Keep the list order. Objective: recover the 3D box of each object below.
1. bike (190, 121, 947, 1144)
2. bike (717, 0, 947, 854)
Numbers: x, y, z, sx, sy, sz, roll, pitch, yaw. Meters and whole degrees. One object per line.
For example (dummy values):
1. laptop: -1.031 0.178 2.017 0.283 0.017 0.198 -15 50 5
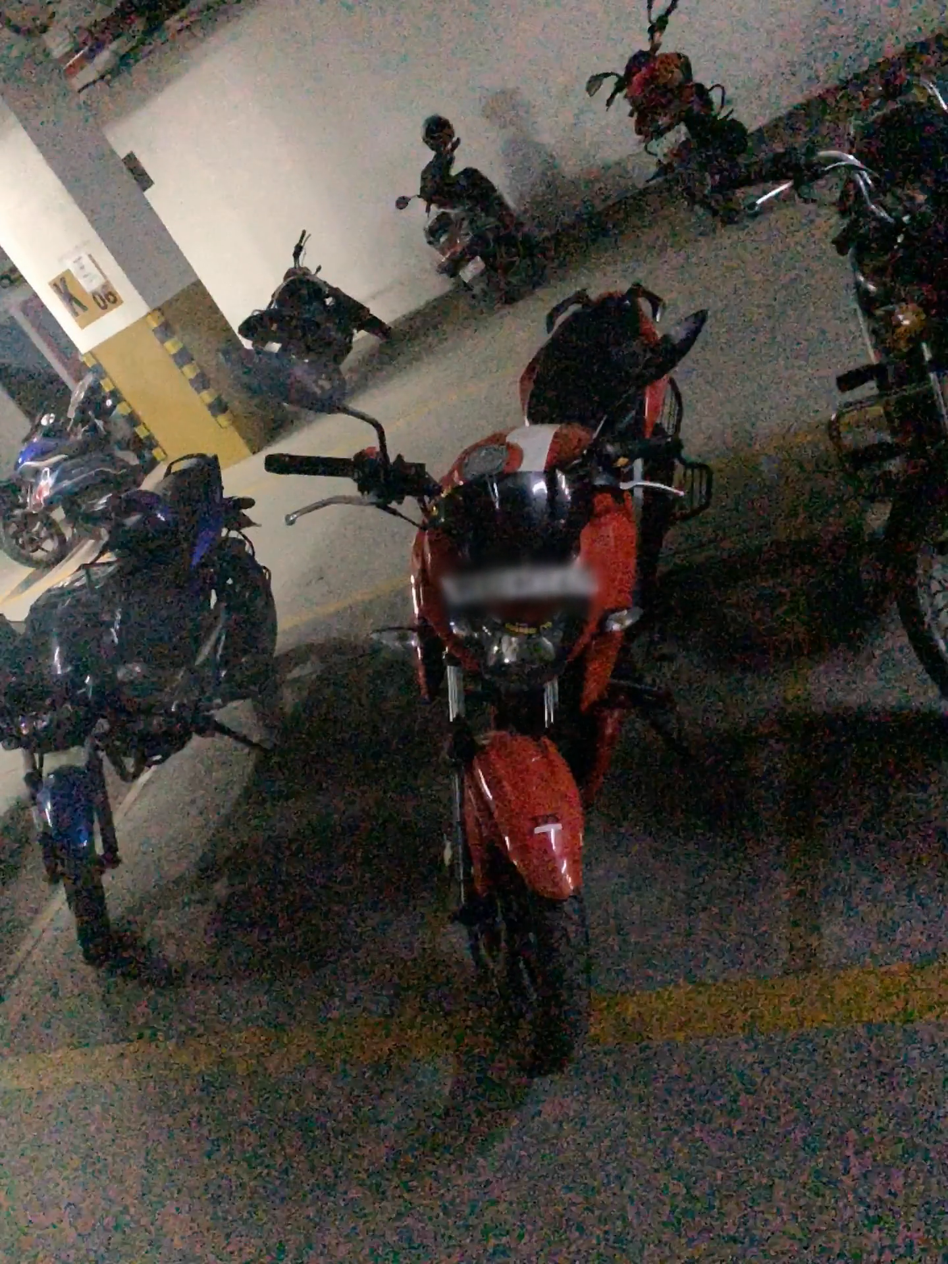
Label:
1. bike: 0.327 -0.122 1.956 0.803 1.006 1.699 -19 33 26
2. bike: 0.976 -0.564 1.814 0.675 0.933 1.571 -19 31 26
